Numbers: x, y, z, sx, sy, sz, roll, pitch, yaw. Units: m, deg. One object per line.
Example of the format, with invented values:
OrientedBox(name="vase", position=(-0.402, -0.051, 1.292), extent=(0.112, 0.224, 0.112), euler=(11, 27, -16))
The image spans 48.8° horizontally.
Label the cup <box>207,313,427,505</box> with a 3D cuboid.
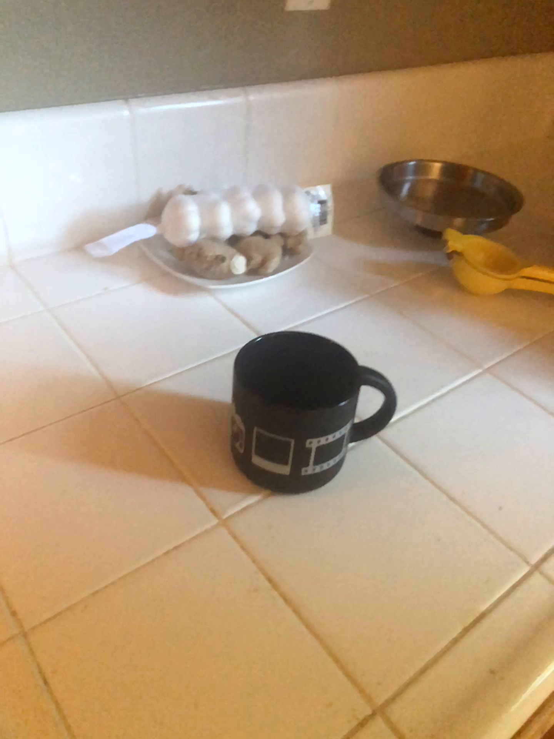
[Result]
OrientedBox(name="cup", position=(0.021, 0.026, 0.446), extent=(0.130, 0.089, 0.091), euler=(-5, 41, -14))
